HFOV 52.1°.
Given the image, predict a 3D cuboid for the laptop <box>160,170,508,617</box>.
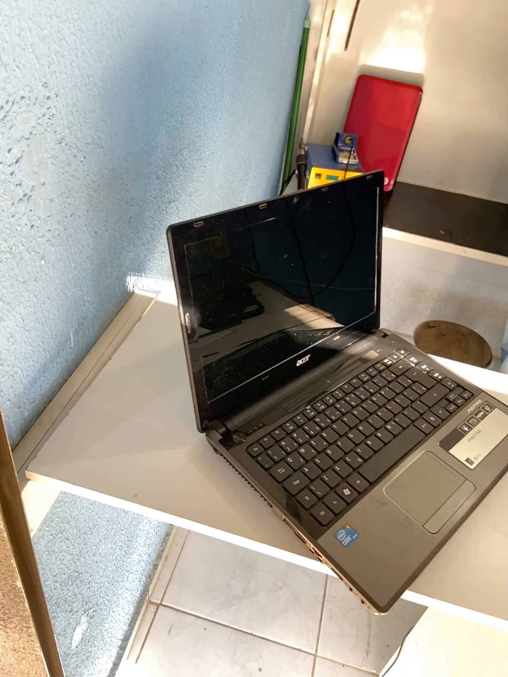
[{"bbox_3d":[0.134,0.007,0.554,0.338,0.207,0.318,-26,50,-37],"label":"laptop"}]
